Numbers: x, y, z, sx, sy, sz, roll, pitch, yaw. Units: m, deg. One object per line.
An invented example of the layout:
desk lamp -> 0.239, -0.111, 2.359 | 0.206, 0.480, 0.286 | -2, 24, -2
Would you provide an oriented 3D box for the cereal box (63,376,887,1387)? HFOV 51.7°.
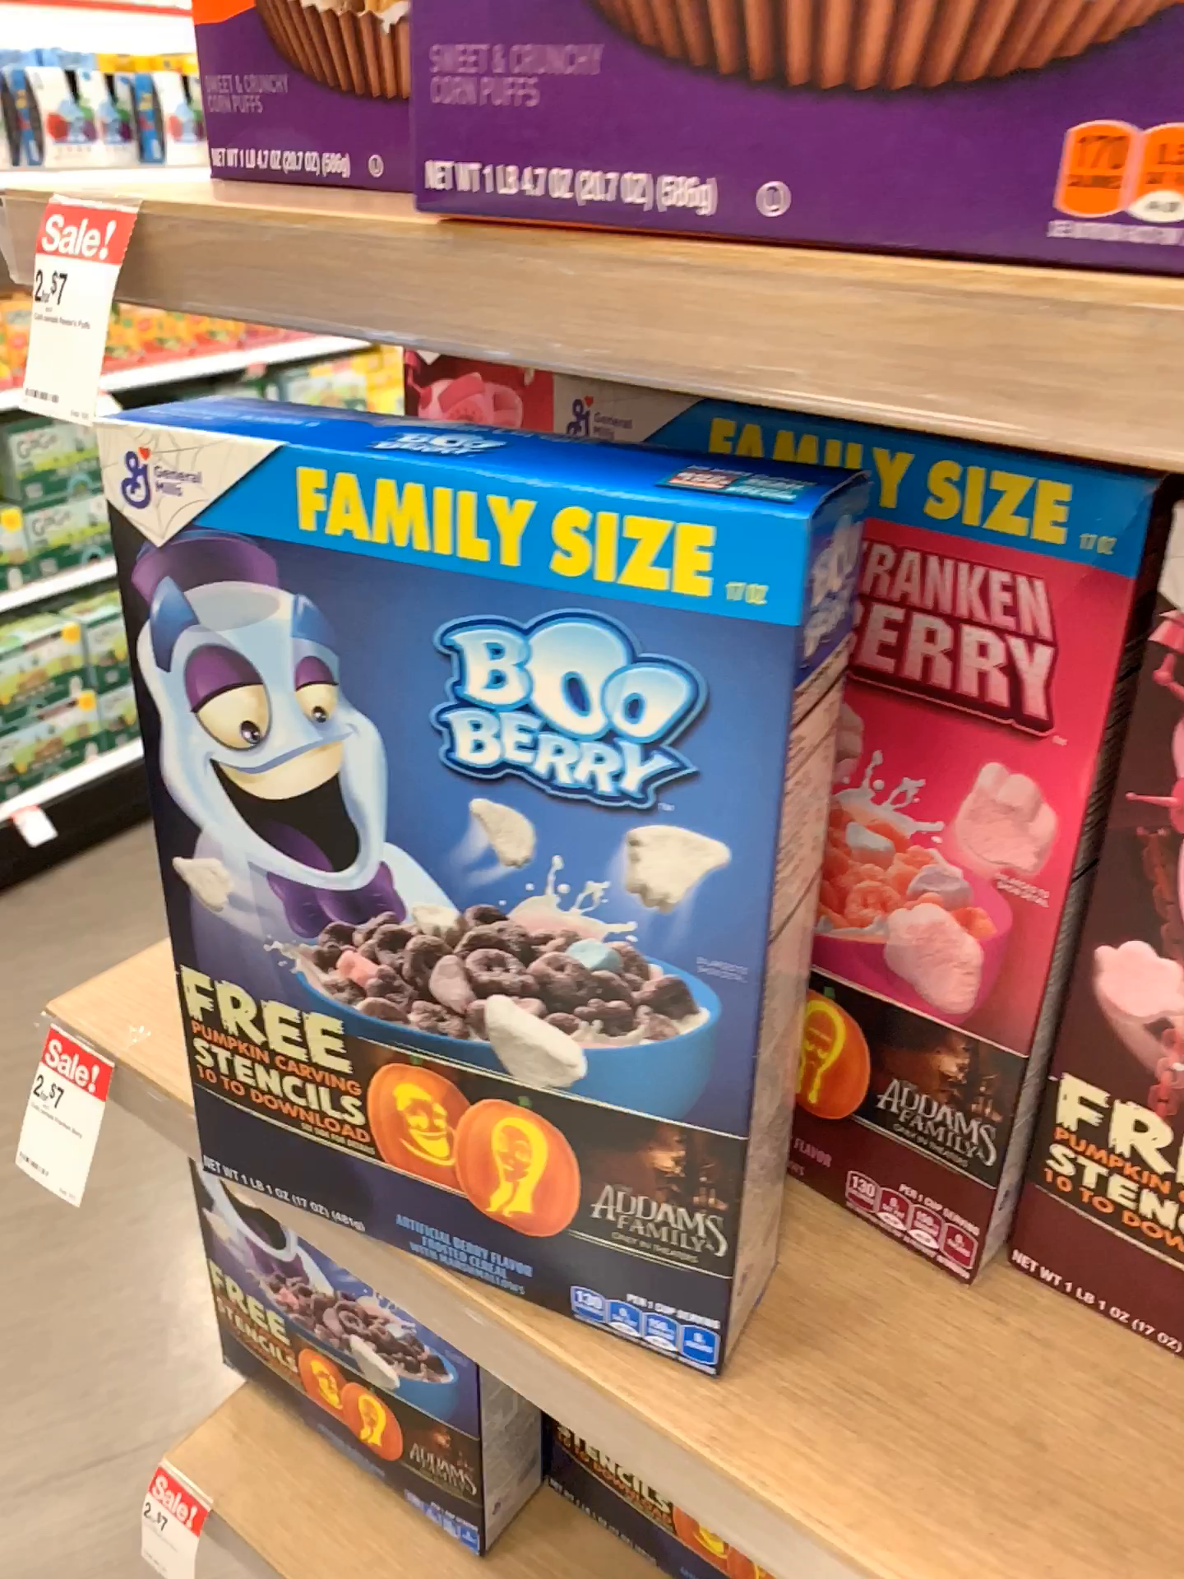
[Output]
cereal box -> -0.045, 0.032, 0.424 | 0.240, 0.308, 0.060 | 13, 28, 20
